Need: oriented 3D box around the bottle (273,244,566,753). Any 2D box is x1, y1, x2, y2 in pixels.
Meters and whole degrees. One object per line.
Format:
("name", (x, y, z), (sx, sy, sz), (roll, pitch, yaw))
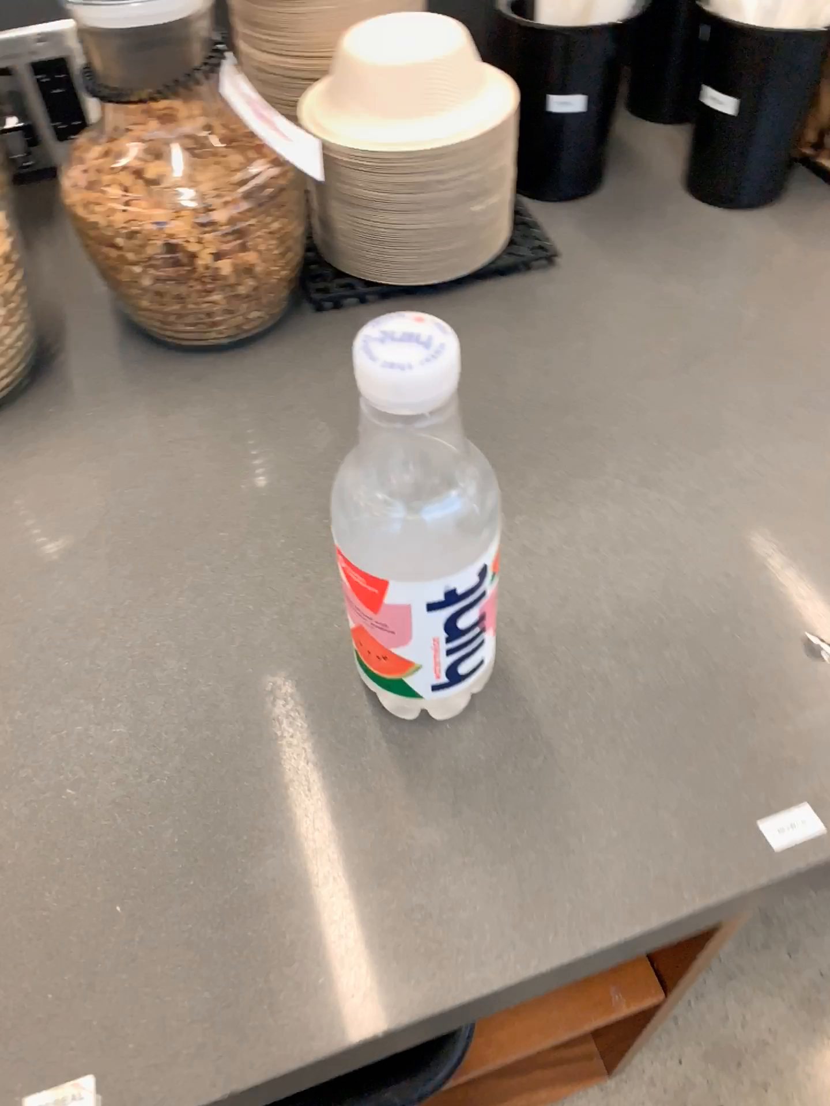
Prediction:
("bottle", (0.003, -0.007, 0.342), (0.070, 0.199, 0.070), (-2, 51, 2))
